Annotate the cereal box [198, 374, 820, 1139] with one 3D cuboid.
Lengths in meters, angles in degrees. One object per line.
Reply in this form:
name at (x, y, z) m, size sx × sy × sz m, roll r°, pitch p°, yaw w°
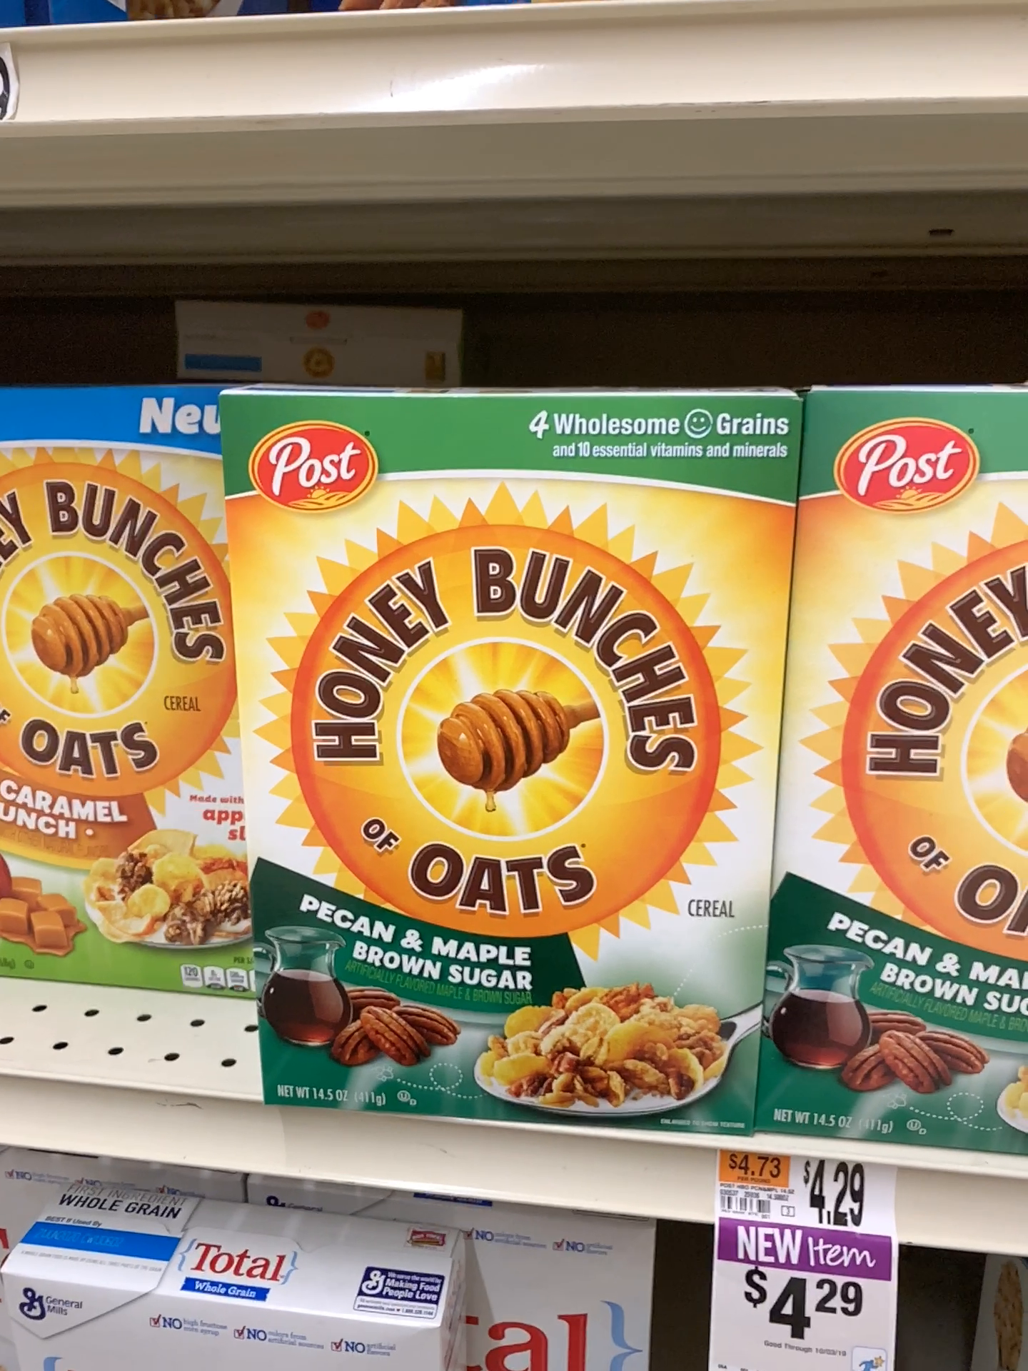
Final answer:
cereal box at (-0.002, 0.027, 0.406) m, size 0.200 × 0.279 × 0.060 m, roll 1°, pitch 15°, yaw 4°
